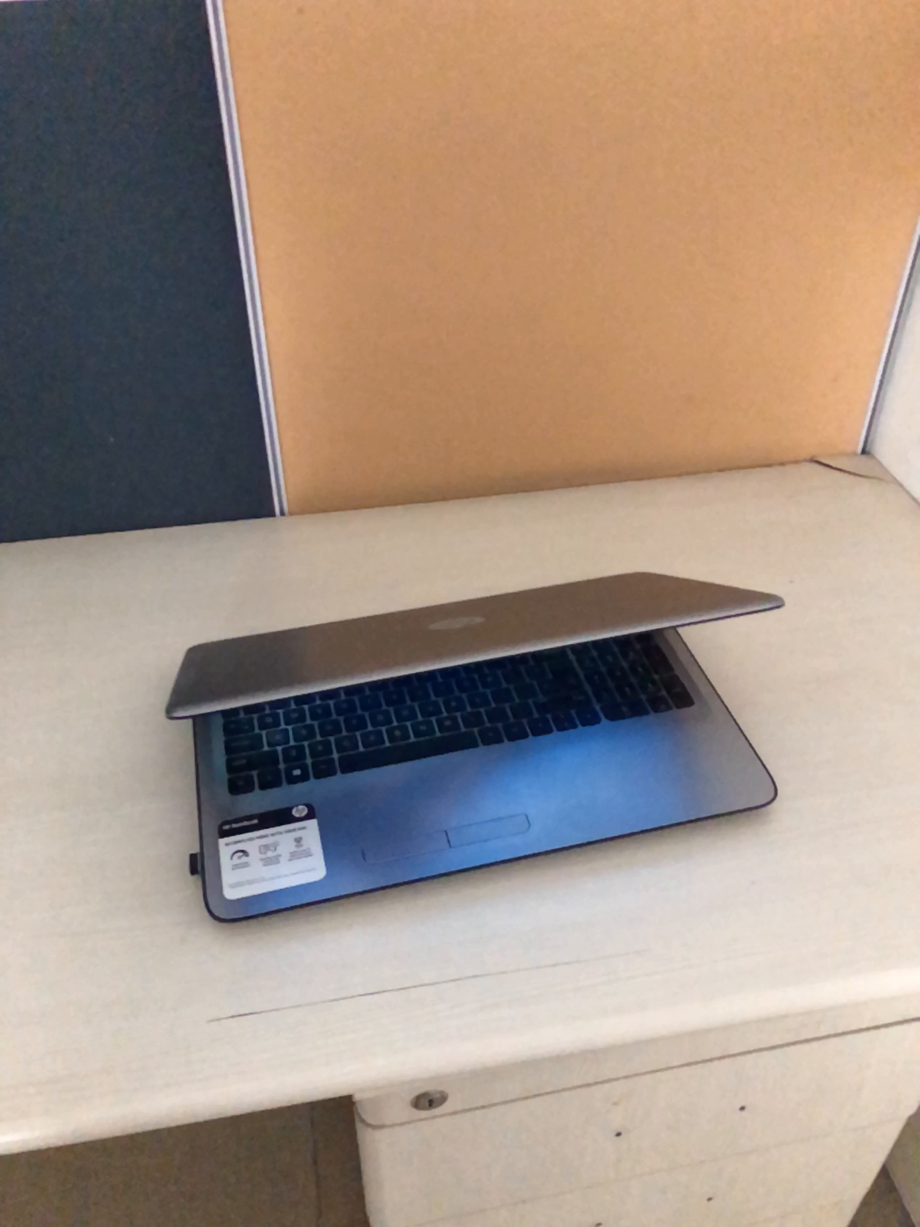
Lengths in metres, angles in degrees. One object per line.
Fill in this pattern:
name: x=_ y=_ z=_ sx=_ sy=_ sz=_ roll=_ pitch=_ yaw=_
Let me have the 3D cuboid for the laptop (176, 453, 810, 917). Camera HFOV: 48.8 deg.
laptop: x=0.004 y=0.028 z=0.692 sx=0.364 sy=0.132 sz=0.239 roll=-9 pitch=38 yaw=-11
